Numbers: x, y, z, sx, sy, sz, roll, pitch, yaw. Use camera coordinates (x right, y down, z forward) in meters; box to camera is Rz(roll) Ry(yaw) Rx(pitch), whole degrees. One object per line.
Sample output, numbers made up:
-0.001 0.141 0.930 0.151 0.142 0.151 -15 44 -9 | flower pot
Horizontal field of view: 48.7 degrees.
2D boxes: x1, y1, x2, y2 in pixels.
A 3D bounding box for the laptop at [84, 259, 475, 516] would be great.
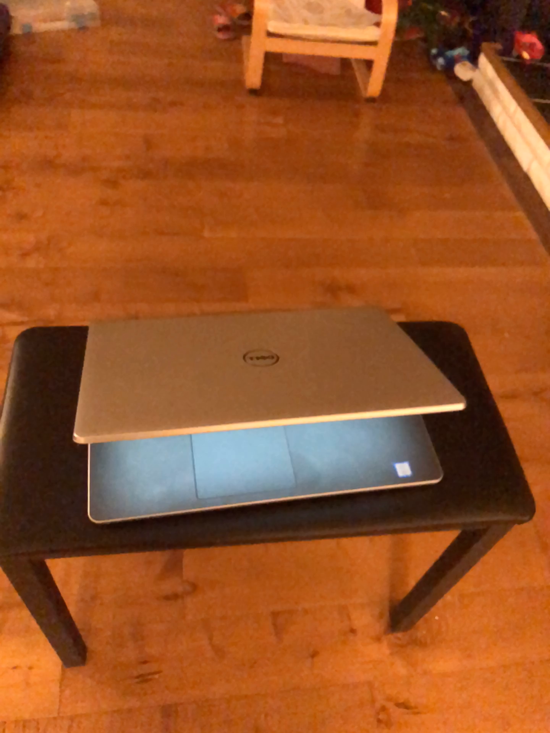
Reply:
-0.014 0.008 0.674 0.365 0.107 0.249 -4 51 -12 | laptop
